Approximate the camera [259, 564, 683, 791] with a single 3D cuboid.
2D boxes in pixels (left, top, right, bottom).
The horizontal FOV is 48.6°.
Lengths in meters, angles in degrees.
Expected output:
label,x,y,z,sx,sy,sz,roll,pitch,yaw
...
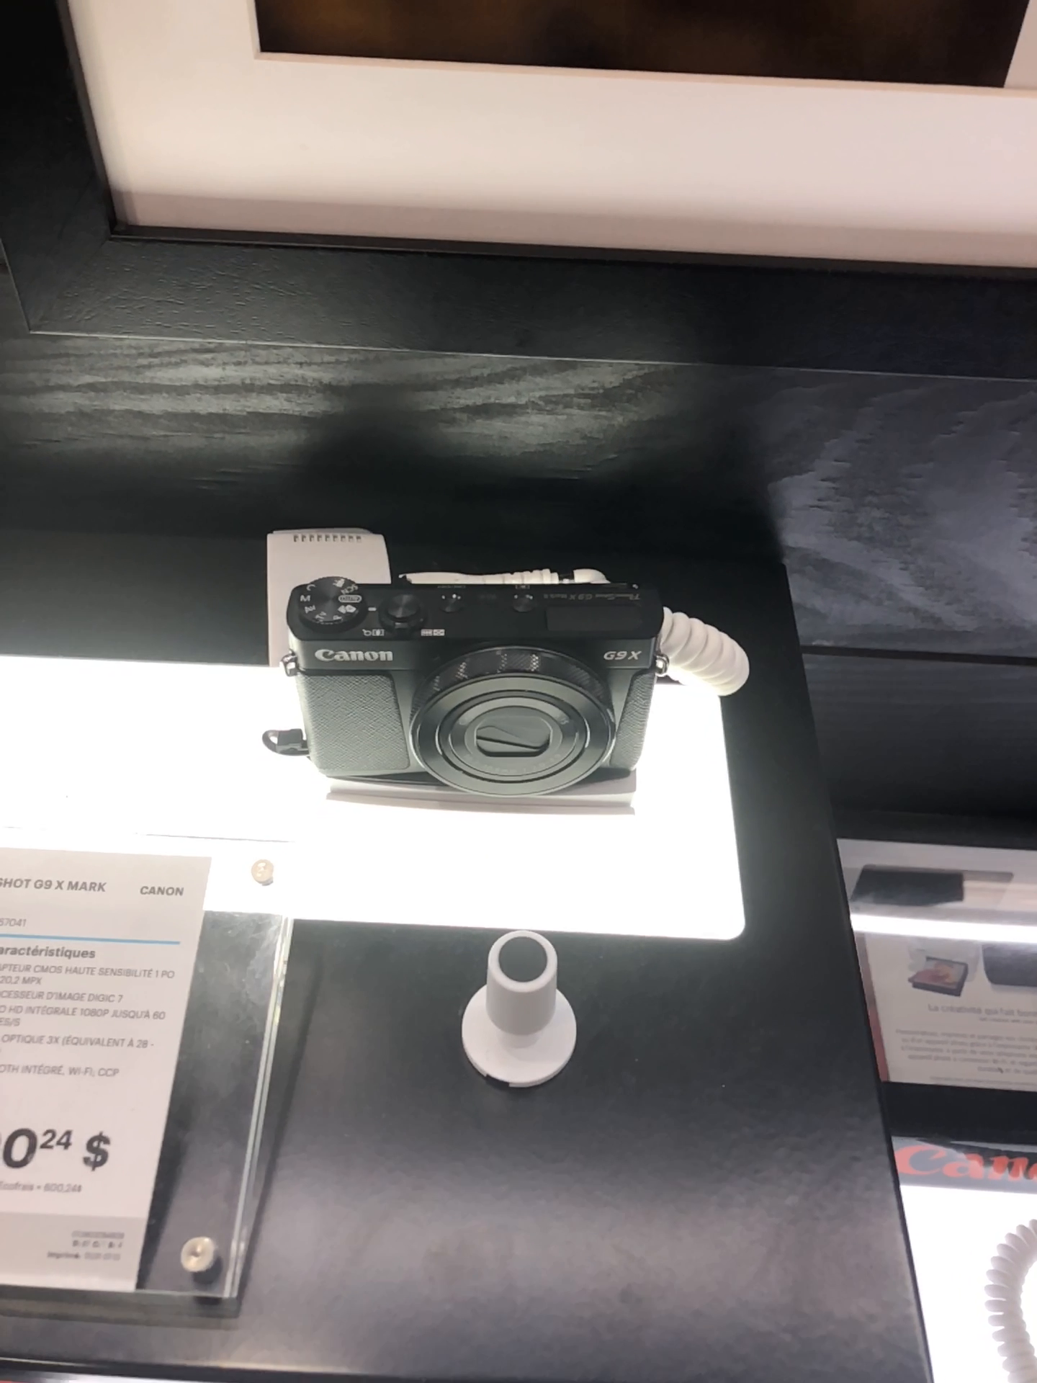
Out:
label,x,y,z,sx,sy,sz,roll,pitch,yaw
camera,-0.012,-0.003,0.301,0.100,0.058,0.025,0,46,-3
